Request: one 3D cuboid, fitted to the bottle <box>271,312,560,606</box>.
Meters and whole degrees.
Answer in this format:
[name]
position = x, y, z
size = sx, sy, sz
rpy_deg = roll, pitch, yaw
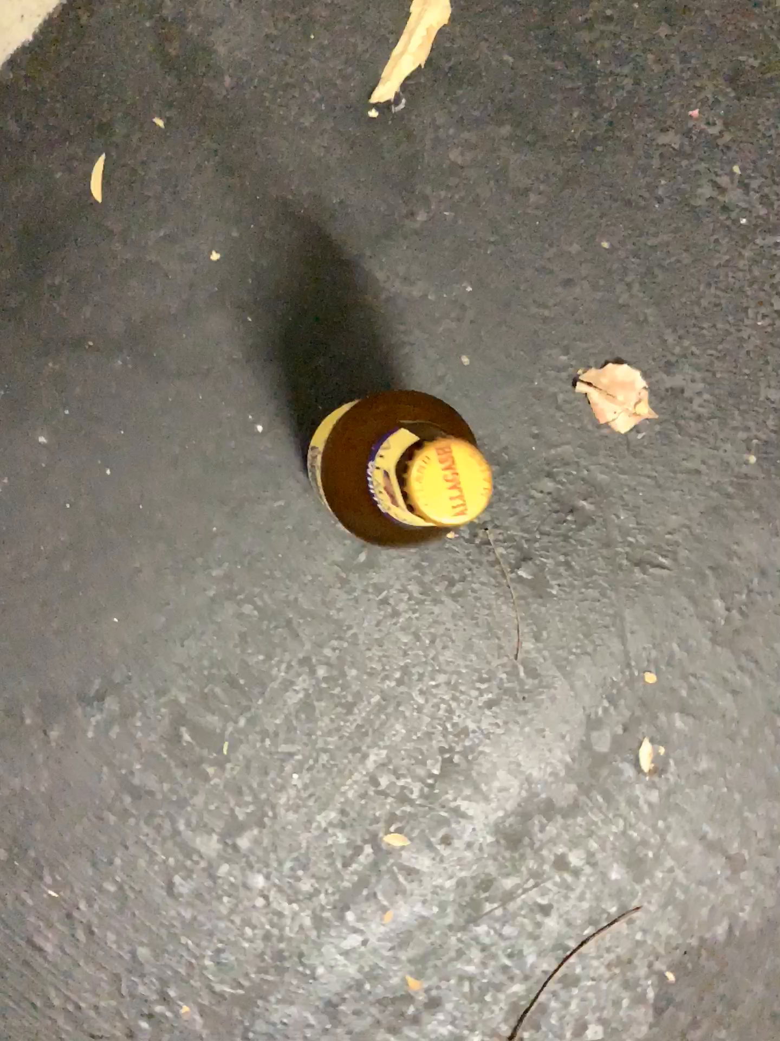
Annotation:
[bottle]
position = -0.003, -0.028, 0.357
size = 0.070, 0.190, 0.070
rpy_deg = -1, 96, -7
